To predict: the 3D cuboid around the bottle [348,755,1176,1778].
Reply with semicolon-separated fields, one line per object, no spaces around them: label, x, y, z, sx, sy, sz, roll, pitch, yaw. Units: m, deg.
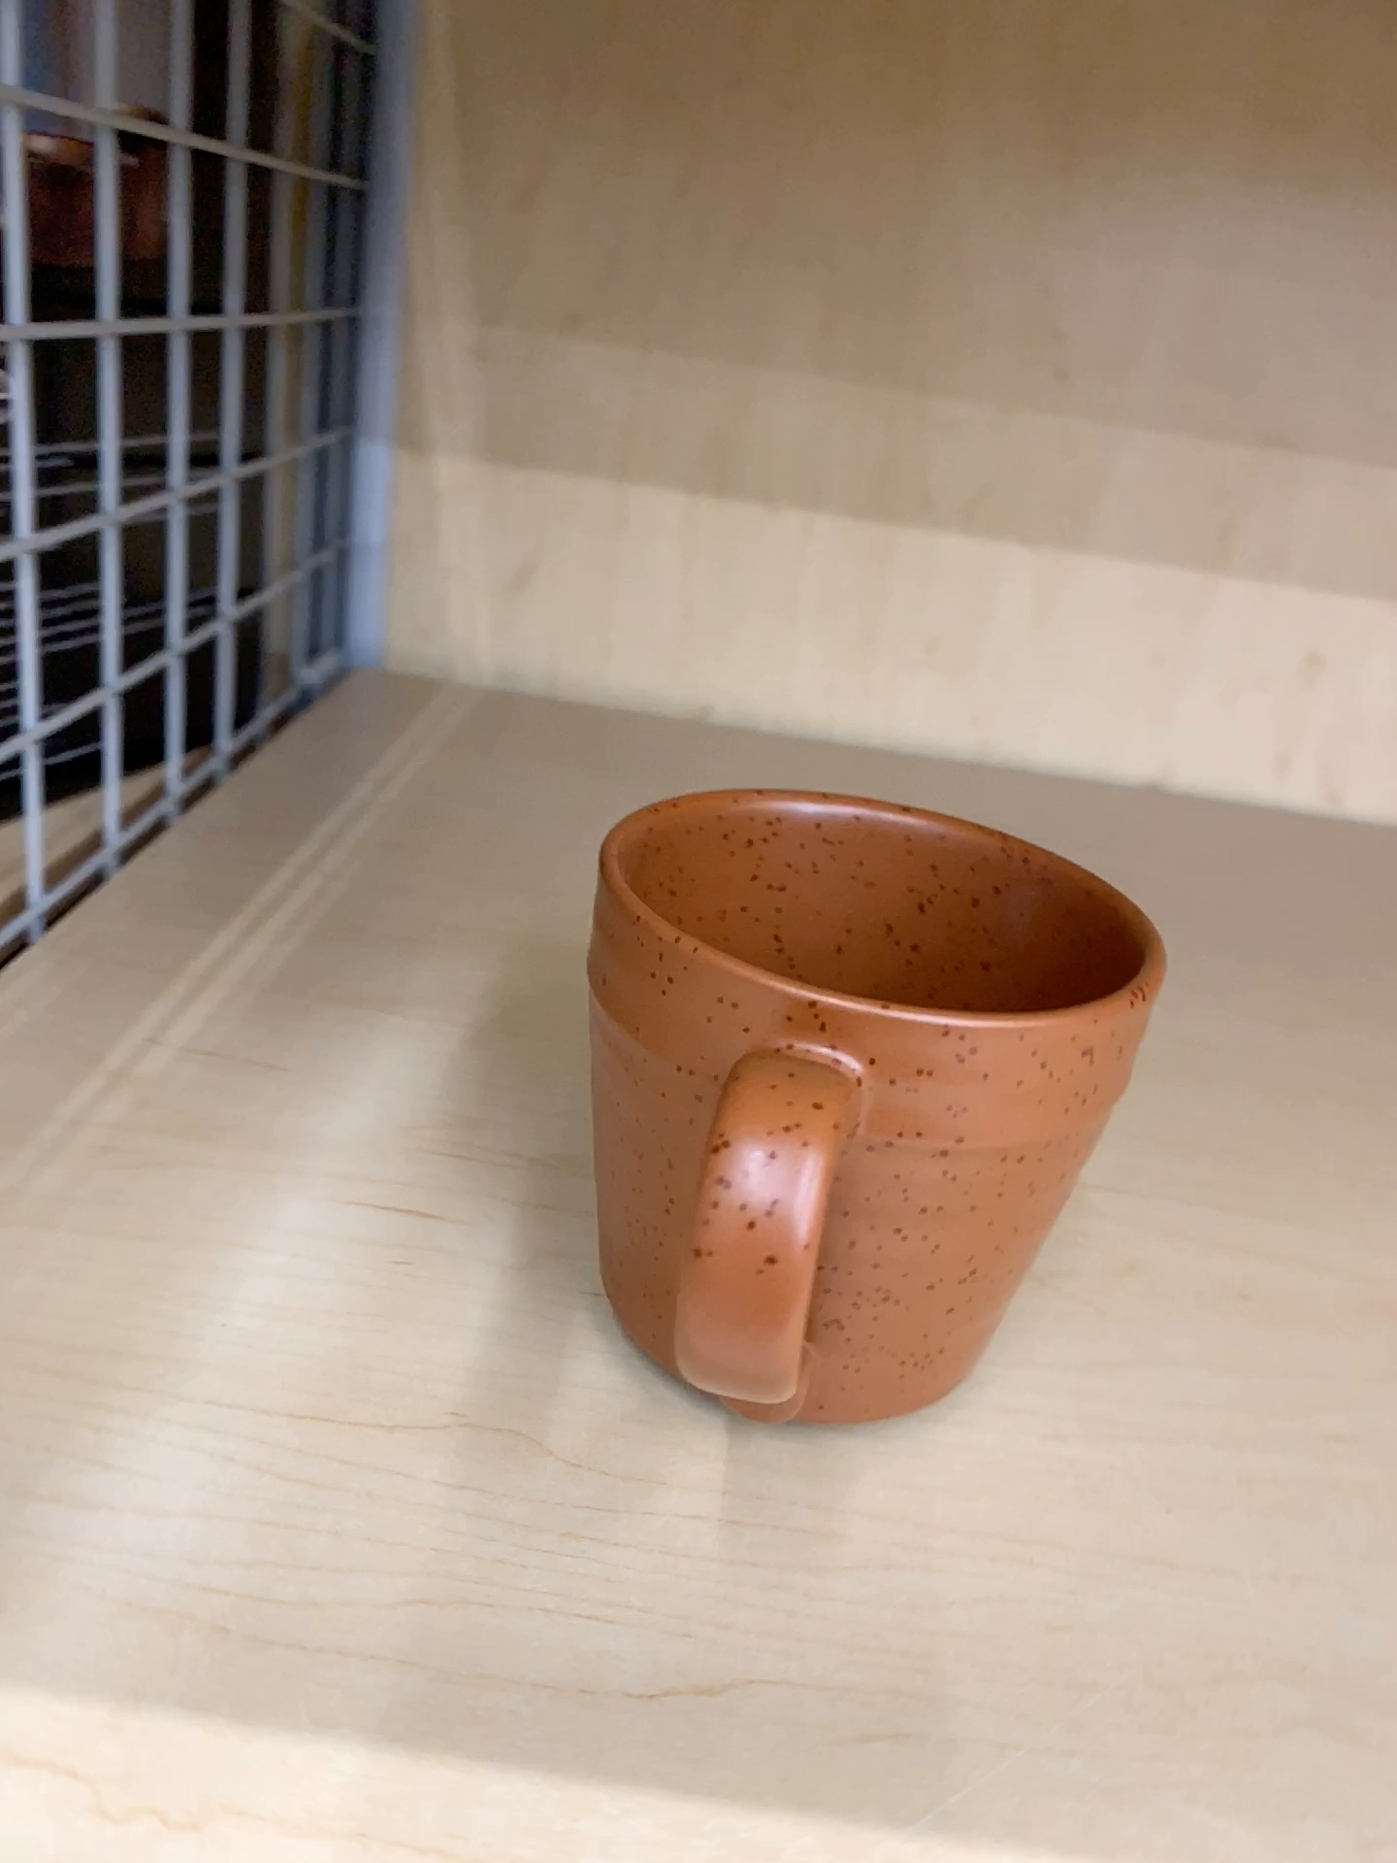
bottle;0.020;0.040;0.257;0.100;0.090;0.141;14;24;12
